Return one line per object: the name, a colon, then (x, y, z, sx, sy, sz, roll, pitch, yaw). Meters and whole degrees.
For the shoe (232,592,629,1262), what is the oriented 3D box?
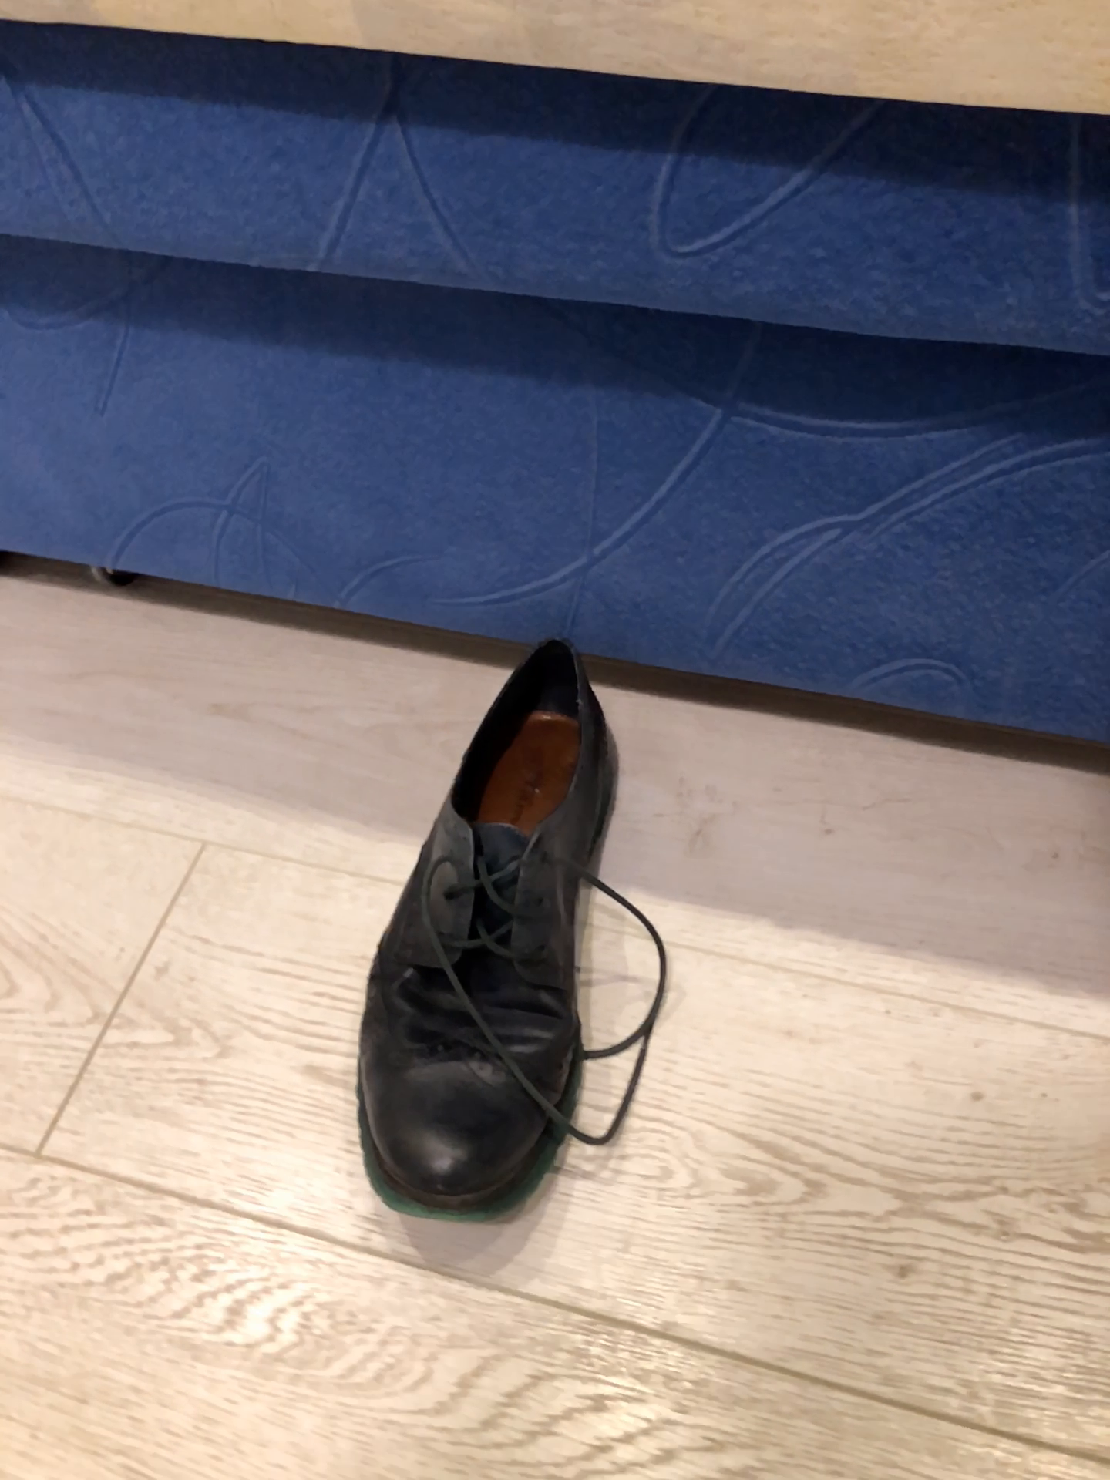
shoe: (-0.034, 0.063, 0.500, 0.095, 0.089, 0.252, 6, 52, 9)
